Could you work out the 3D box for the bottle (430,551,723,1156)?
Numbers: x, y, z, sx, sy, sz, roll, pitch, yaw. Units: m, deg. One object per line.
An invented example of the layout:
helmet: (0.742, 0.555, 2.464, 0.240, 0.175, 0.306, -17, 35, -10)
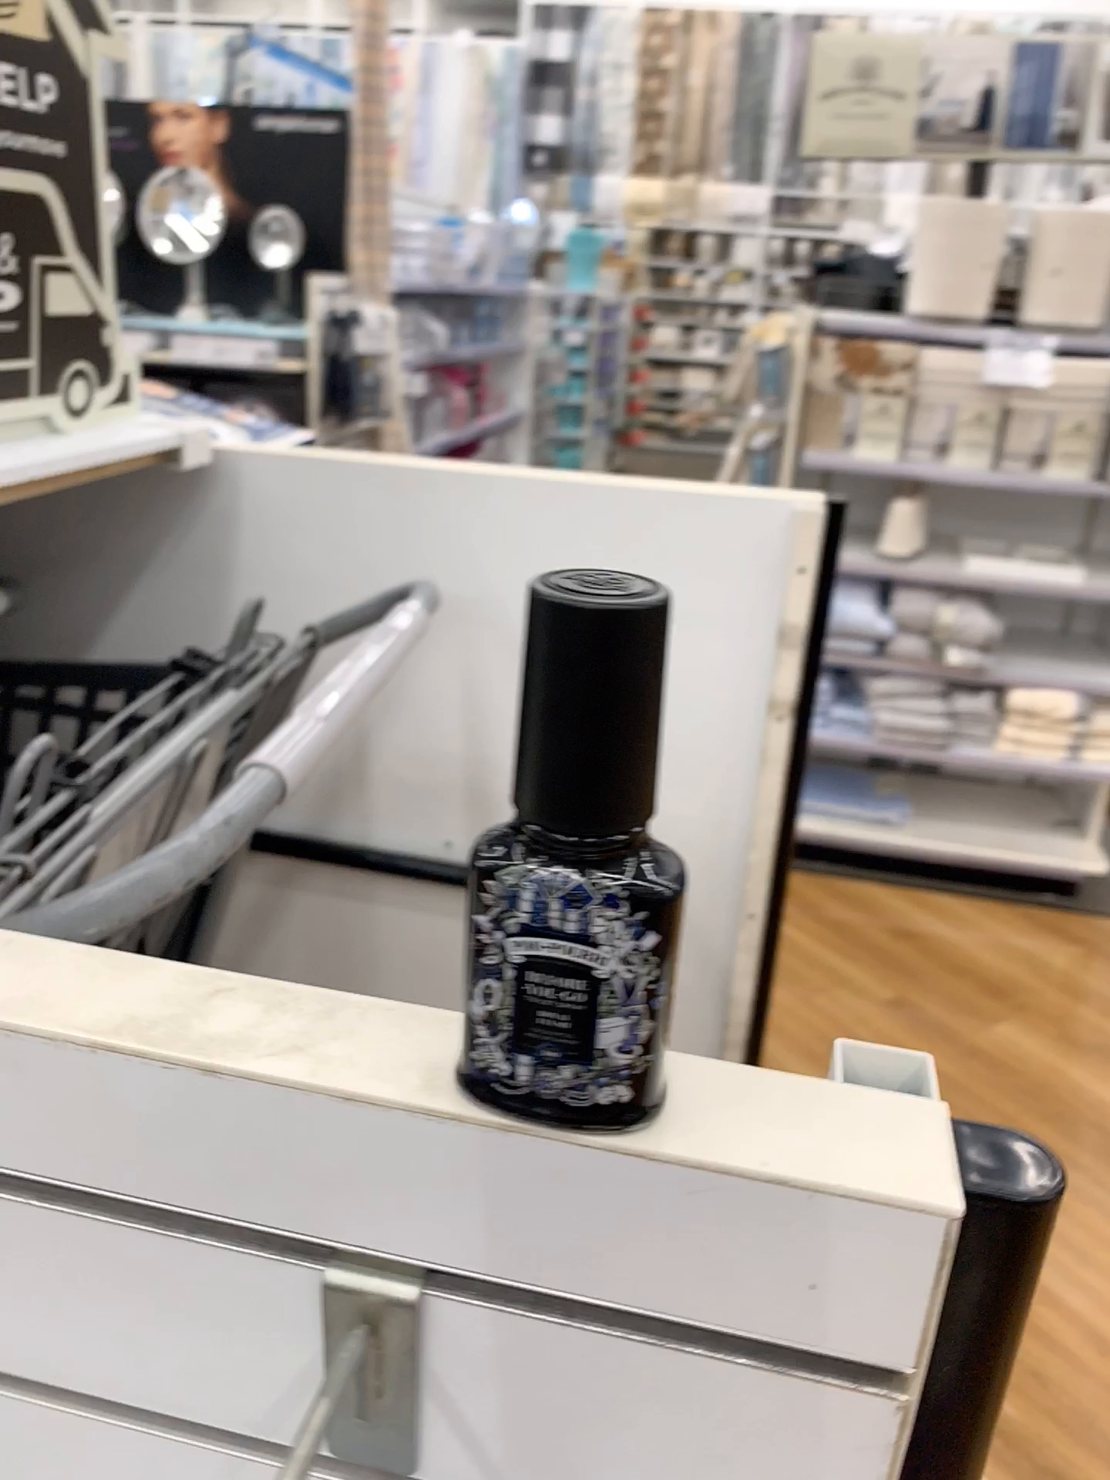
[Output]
bottle: (0.003, 0.026, 0.252, 0.050, 0.123, 0.033, 8, 22, 9)
